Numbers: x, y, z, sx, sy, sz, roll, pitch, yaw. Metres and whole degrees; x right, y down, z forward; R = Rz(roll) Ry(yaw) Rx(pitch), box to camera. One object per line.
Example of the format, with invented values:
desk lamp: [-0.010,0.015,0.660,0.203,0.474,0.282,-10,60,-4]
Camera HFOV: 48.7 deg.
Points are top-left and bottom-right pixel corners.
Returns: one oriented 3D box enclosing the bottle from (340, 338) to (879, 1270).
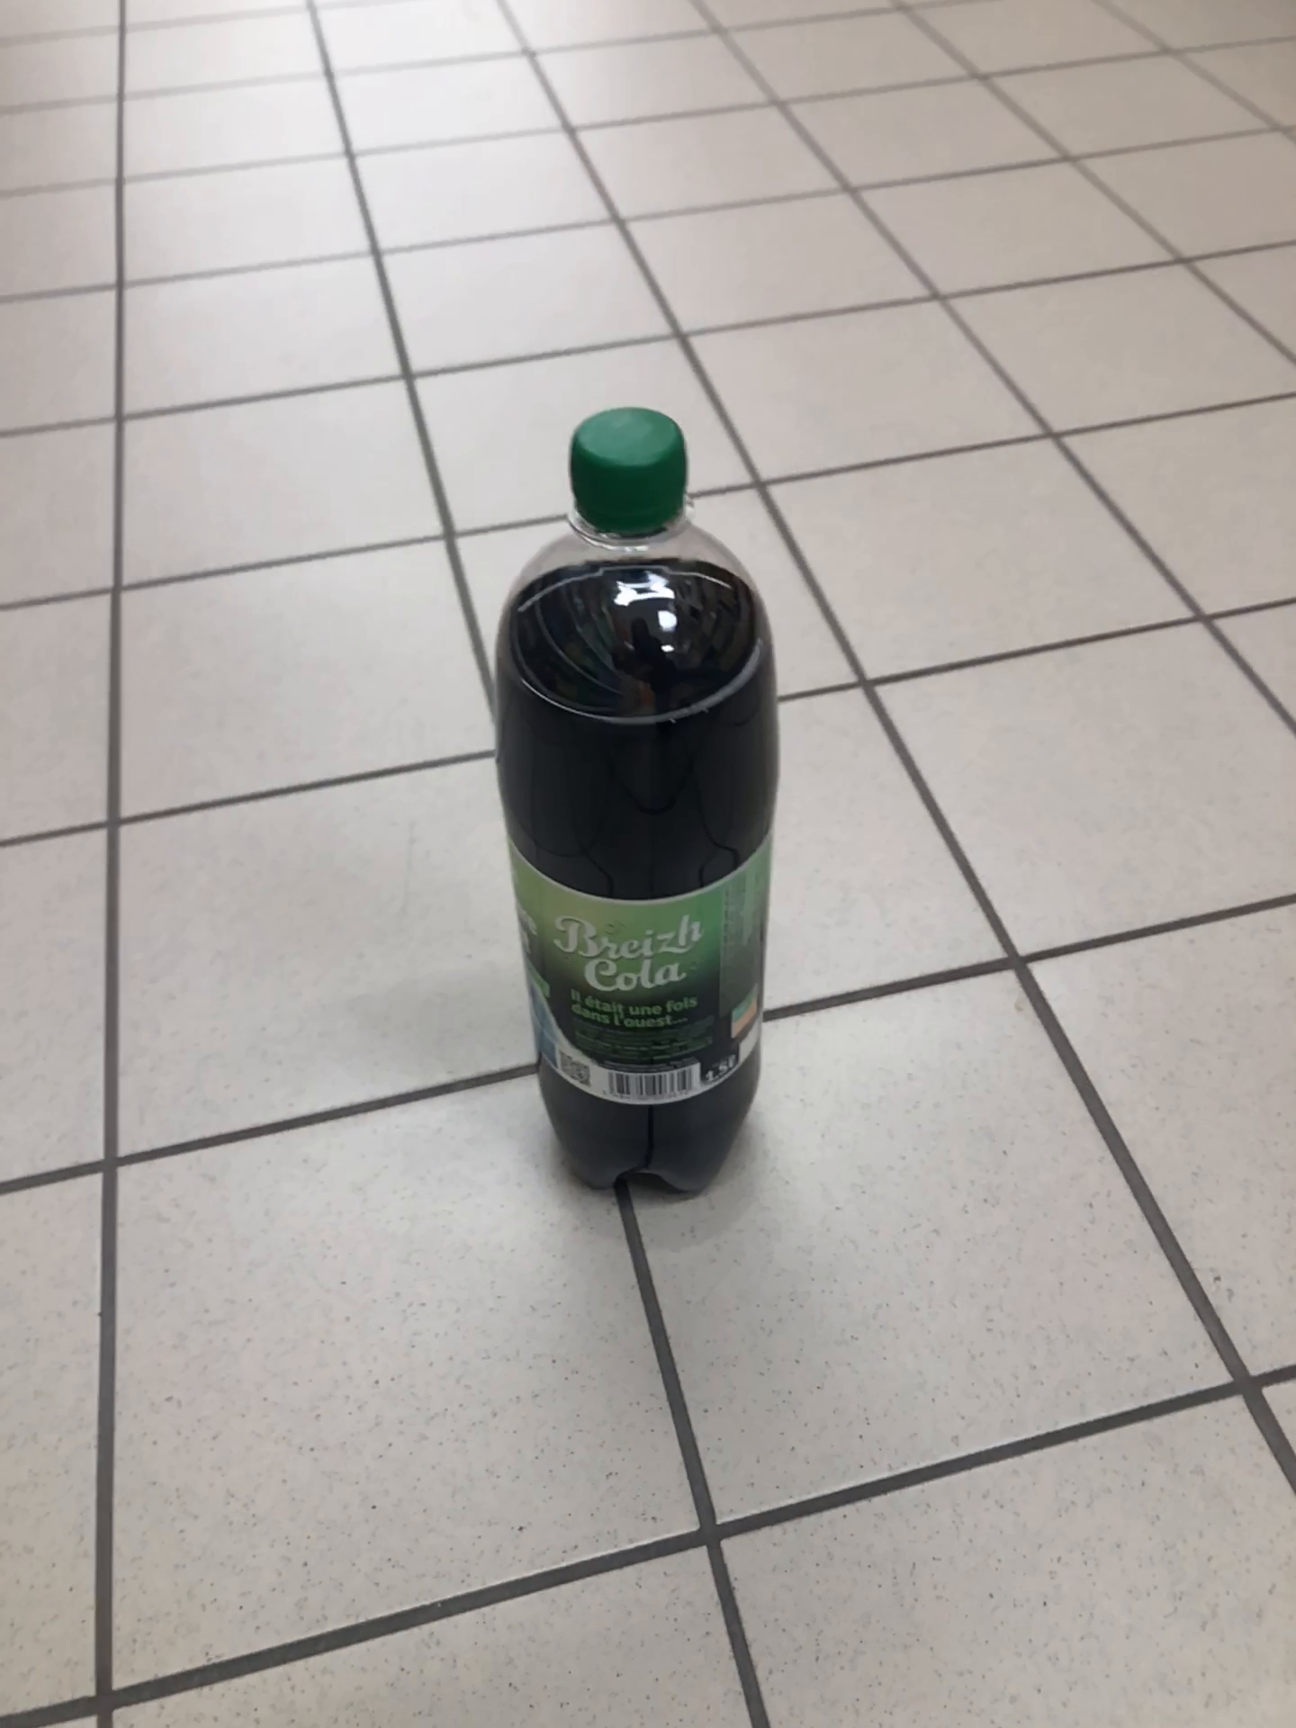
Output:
bottle: [-0.004,0.000,0.474,0.100,0.298,0.101,-1,47,1]
